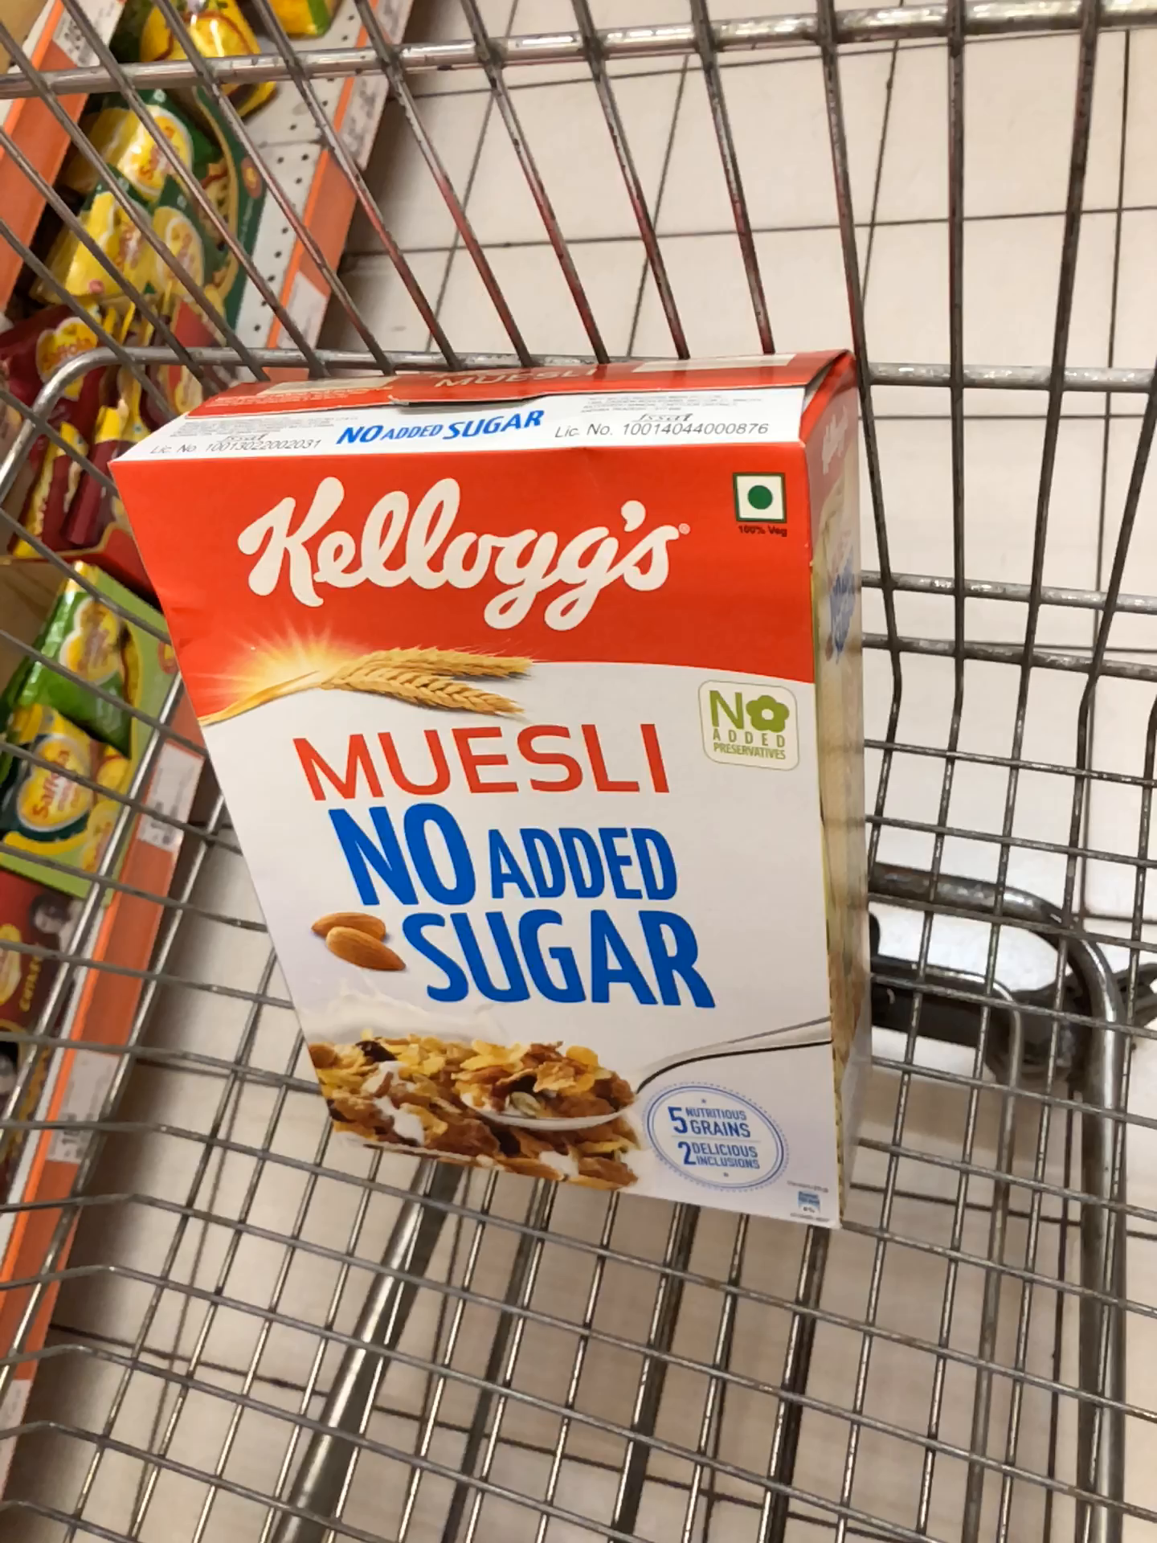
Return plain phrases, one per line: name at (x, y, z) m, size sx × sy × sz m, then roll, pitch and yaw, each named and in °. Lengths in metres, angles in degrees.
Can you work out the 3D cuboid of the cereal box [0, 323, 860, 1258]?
cereal box at (-0.021, 0.016, 0.374) m, size 0.190 × 0.259 × 0.070 m, roll 4°, pitch 36°, yaw 19°
